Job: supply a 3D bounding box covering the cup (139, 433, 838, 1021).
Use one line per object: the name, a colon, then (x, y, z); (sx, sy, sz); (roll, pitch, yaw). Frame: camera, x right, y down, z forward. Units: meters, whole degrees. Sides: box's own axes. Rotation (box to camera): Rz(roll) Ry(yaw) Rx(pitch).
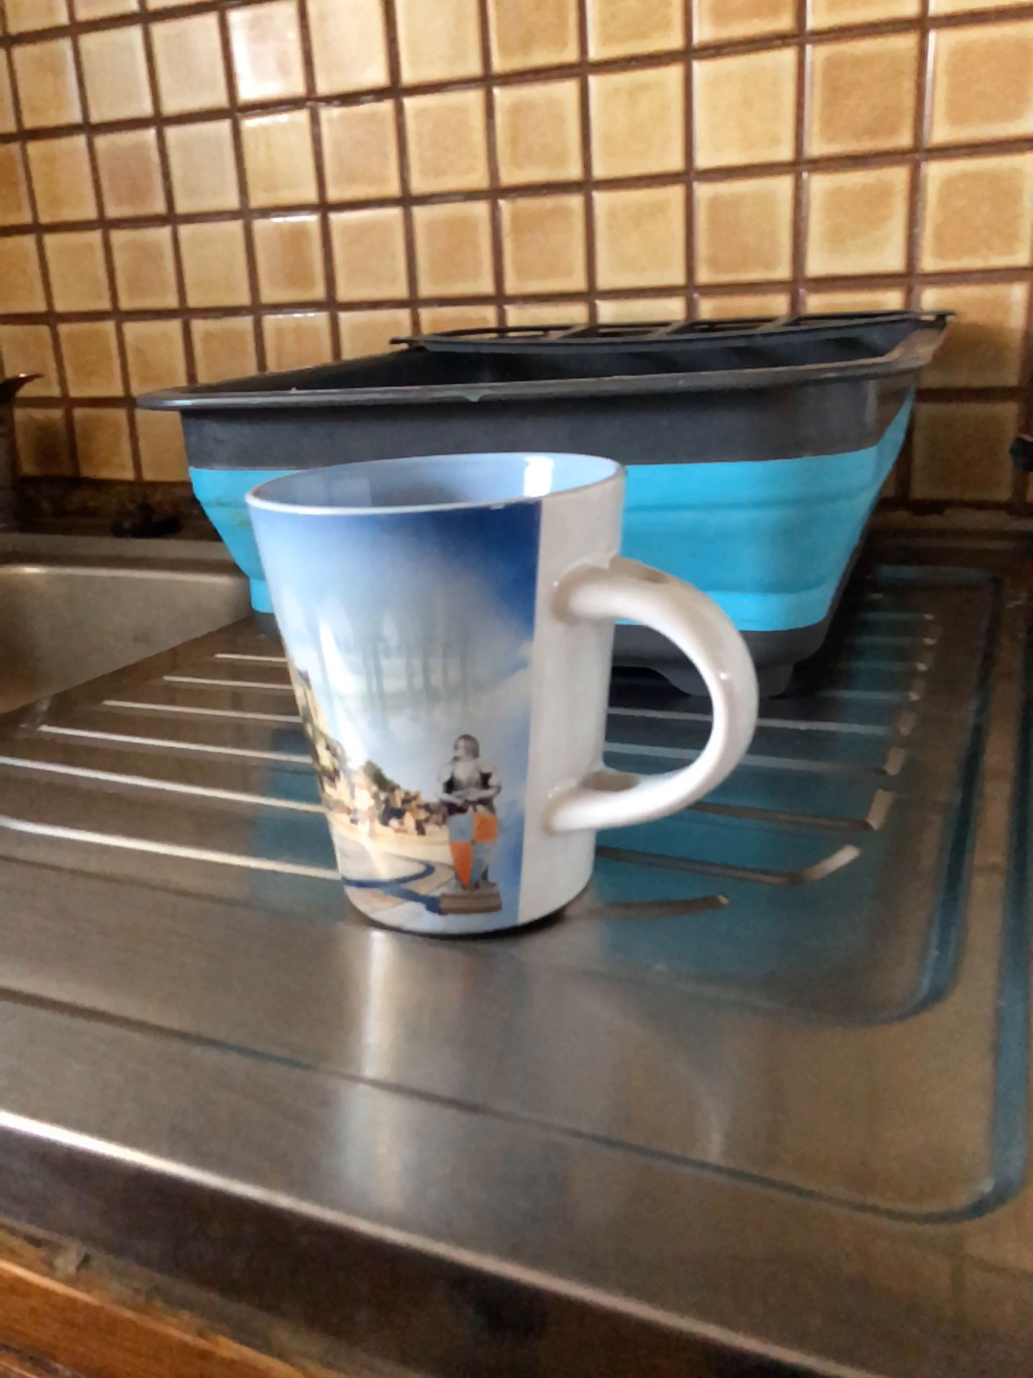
cup: (-0.002, -0.006, 0.281); (0.130, 0.100, 0.101); (8, 22, 30)
